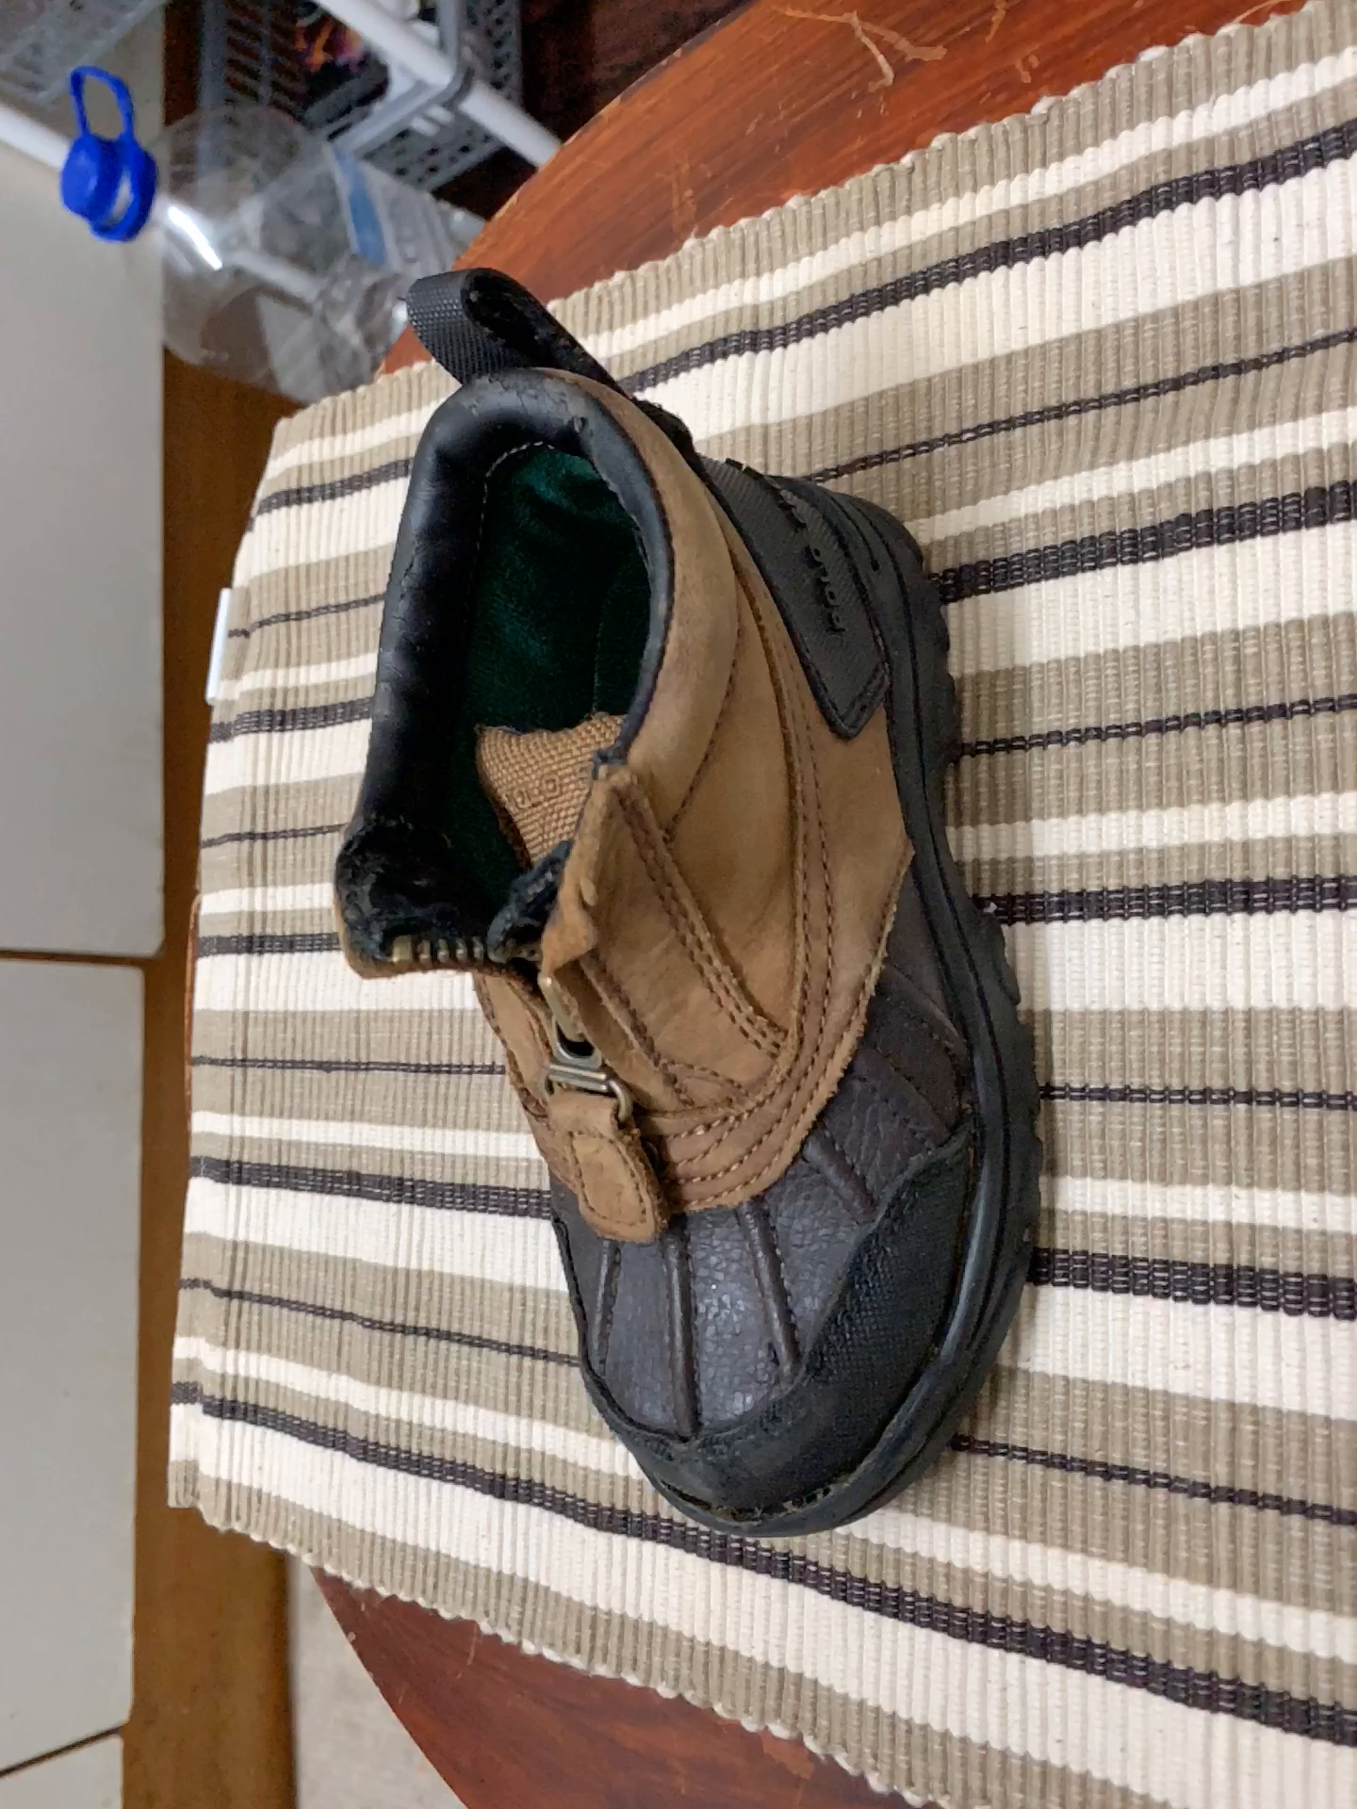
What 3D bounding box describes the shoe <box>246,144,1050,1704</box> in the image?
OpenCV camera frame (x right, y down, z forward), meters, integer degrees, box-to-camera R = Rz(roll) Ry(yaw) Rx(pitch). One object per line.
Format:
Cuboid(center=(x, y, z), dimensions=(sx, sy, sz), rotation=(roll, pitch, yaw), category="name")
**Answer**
Cuboid(center=(-0.003, 0.003, 0.220), dimensions=(0.080, 0.089, 0.180), rotation=(-7, 80, 38), category="shoe")
